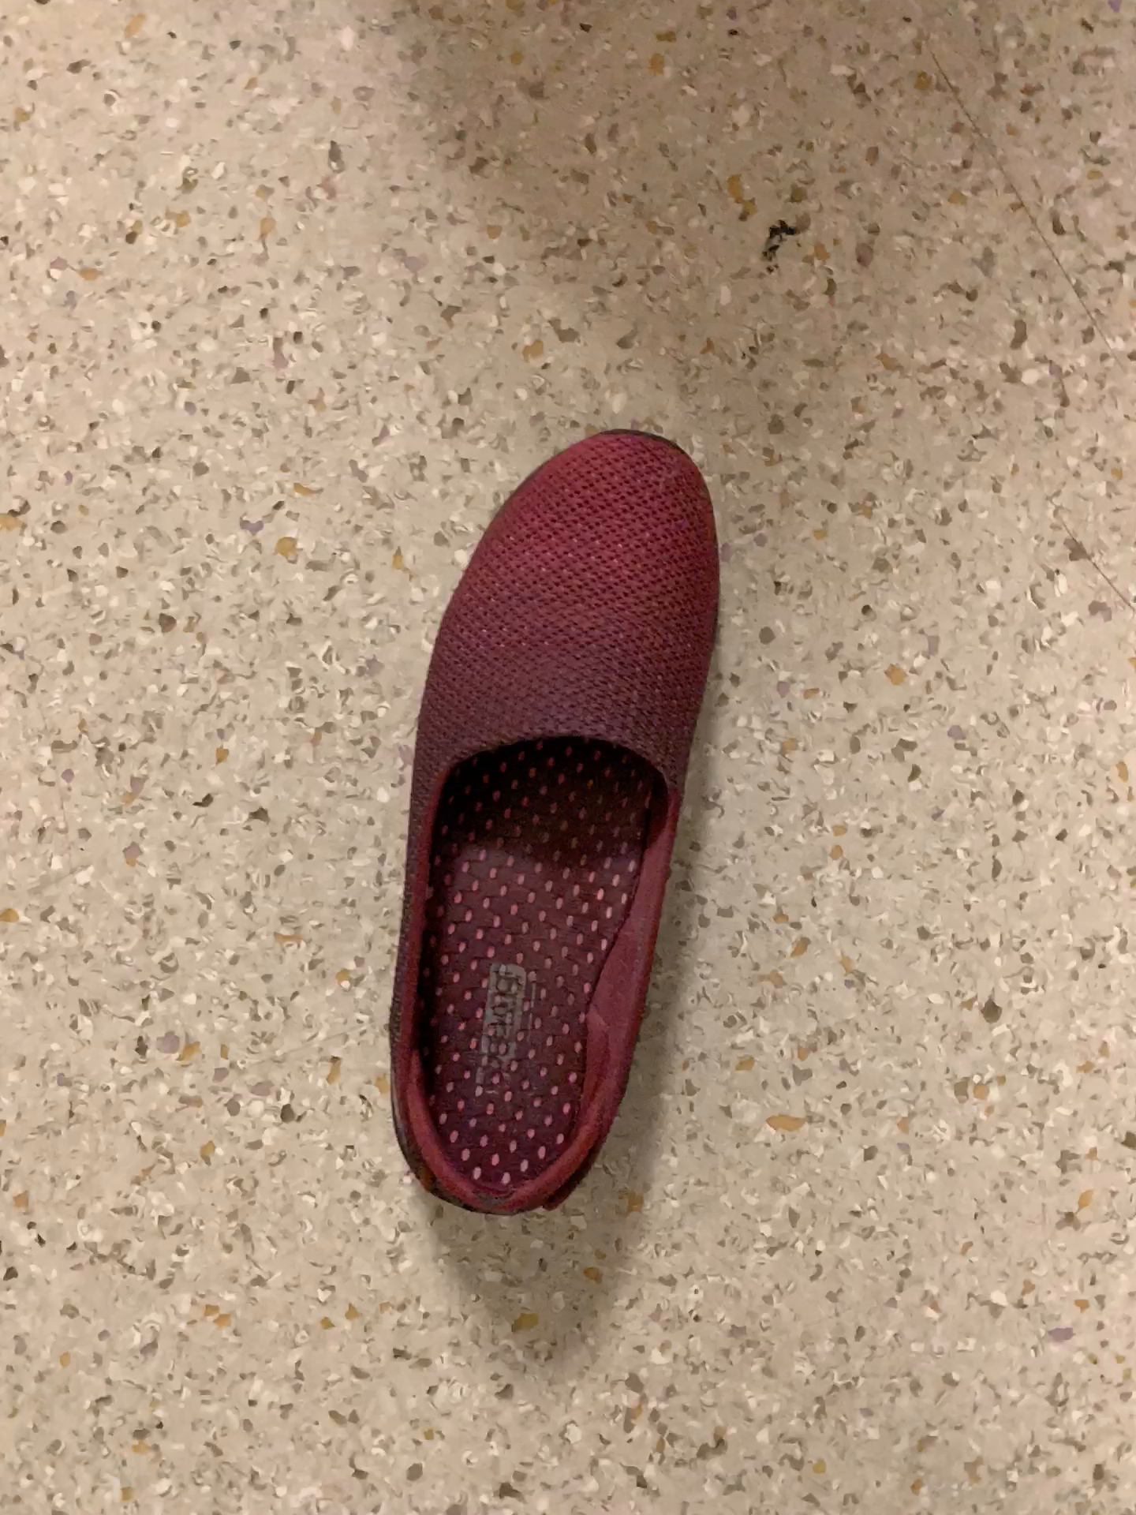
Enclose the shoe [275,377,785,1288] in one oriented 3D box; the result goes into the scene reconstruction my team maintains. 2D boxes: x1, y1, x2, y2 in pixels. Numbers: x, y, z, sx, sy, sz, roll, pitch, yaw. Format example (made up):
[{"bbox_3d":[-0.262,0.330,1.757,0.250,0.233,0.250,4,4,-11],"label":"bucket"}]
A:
[{"bbox_3d":[-0.009,0.020,0.356,0.091,0.091,0.229,12,89,1],"label":"shoe"}]
